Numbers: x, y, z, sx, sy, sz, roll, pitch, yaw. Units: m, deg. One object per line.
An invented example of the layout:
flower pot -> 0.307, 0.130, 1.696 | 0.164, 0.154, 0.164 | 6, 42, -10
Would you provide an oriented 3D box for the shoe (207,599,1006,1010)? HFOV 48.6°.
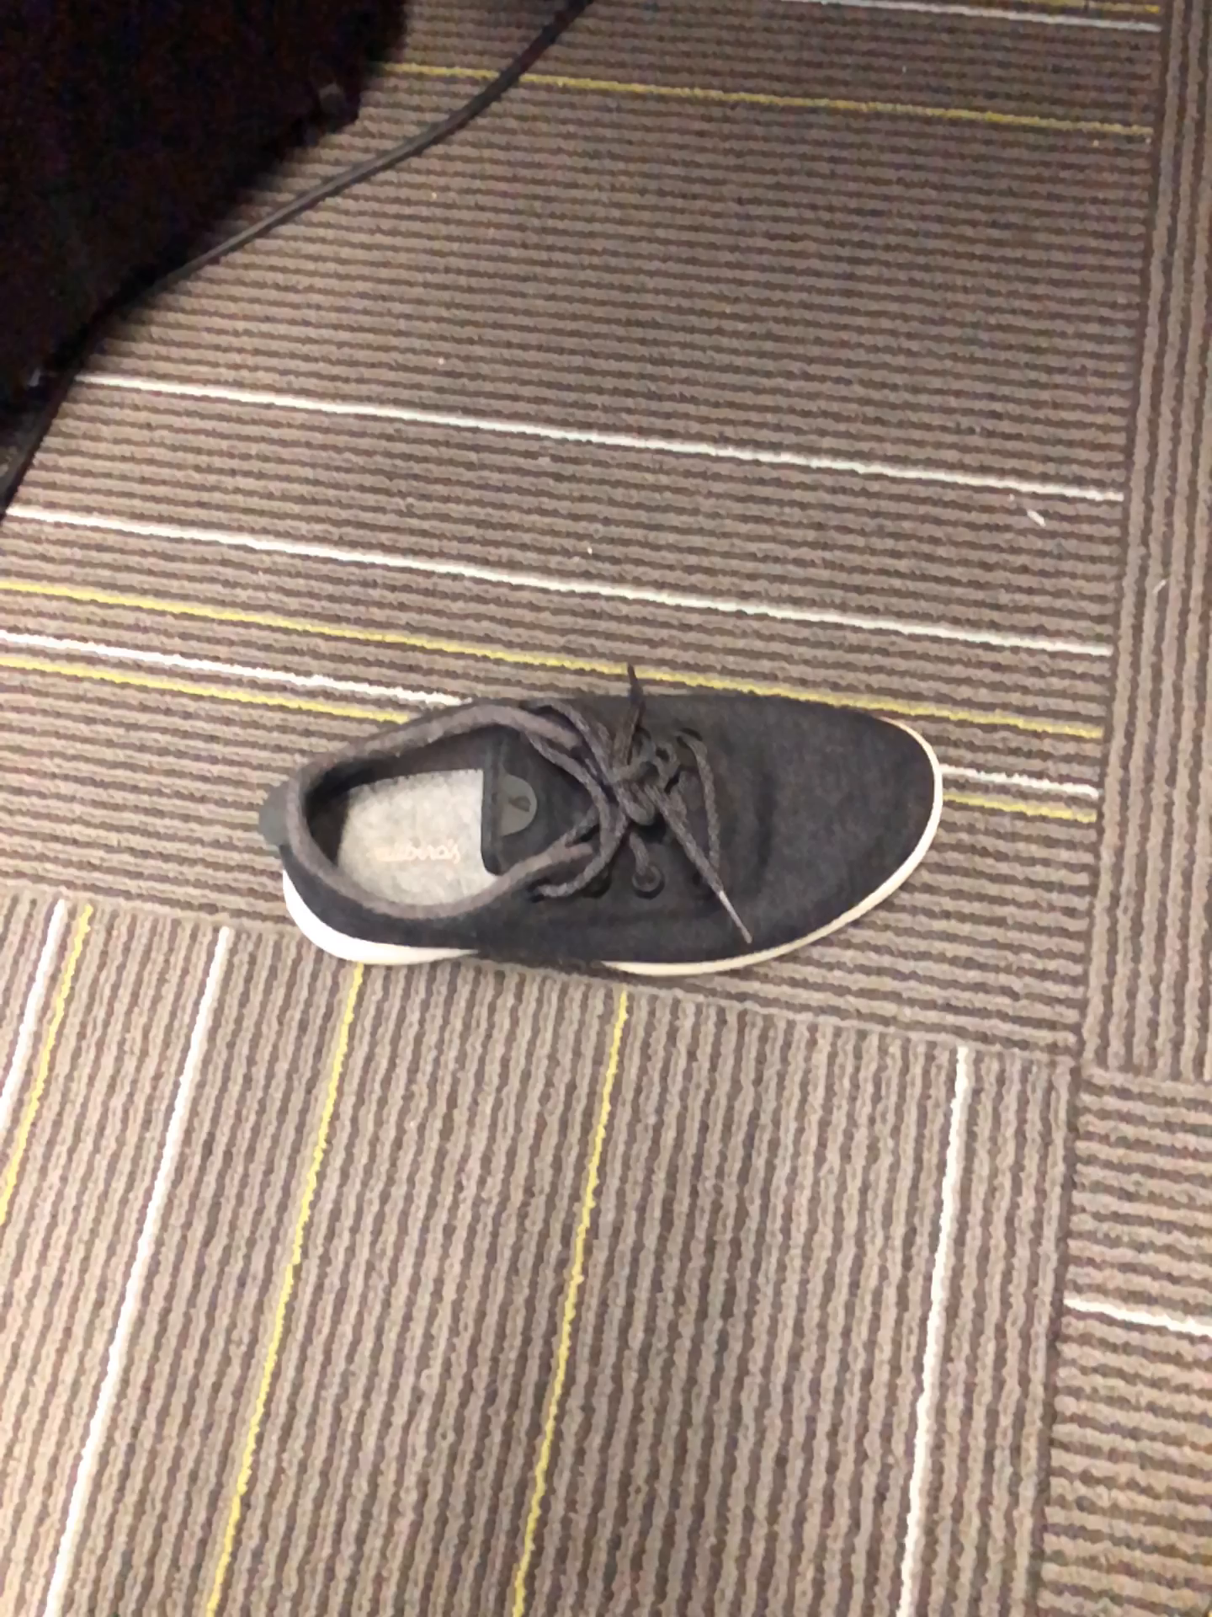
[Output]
shoe -> -0.003, 0.003, 0.502 | 0.270, 0.070, 0.120 | -4, 73, 4
